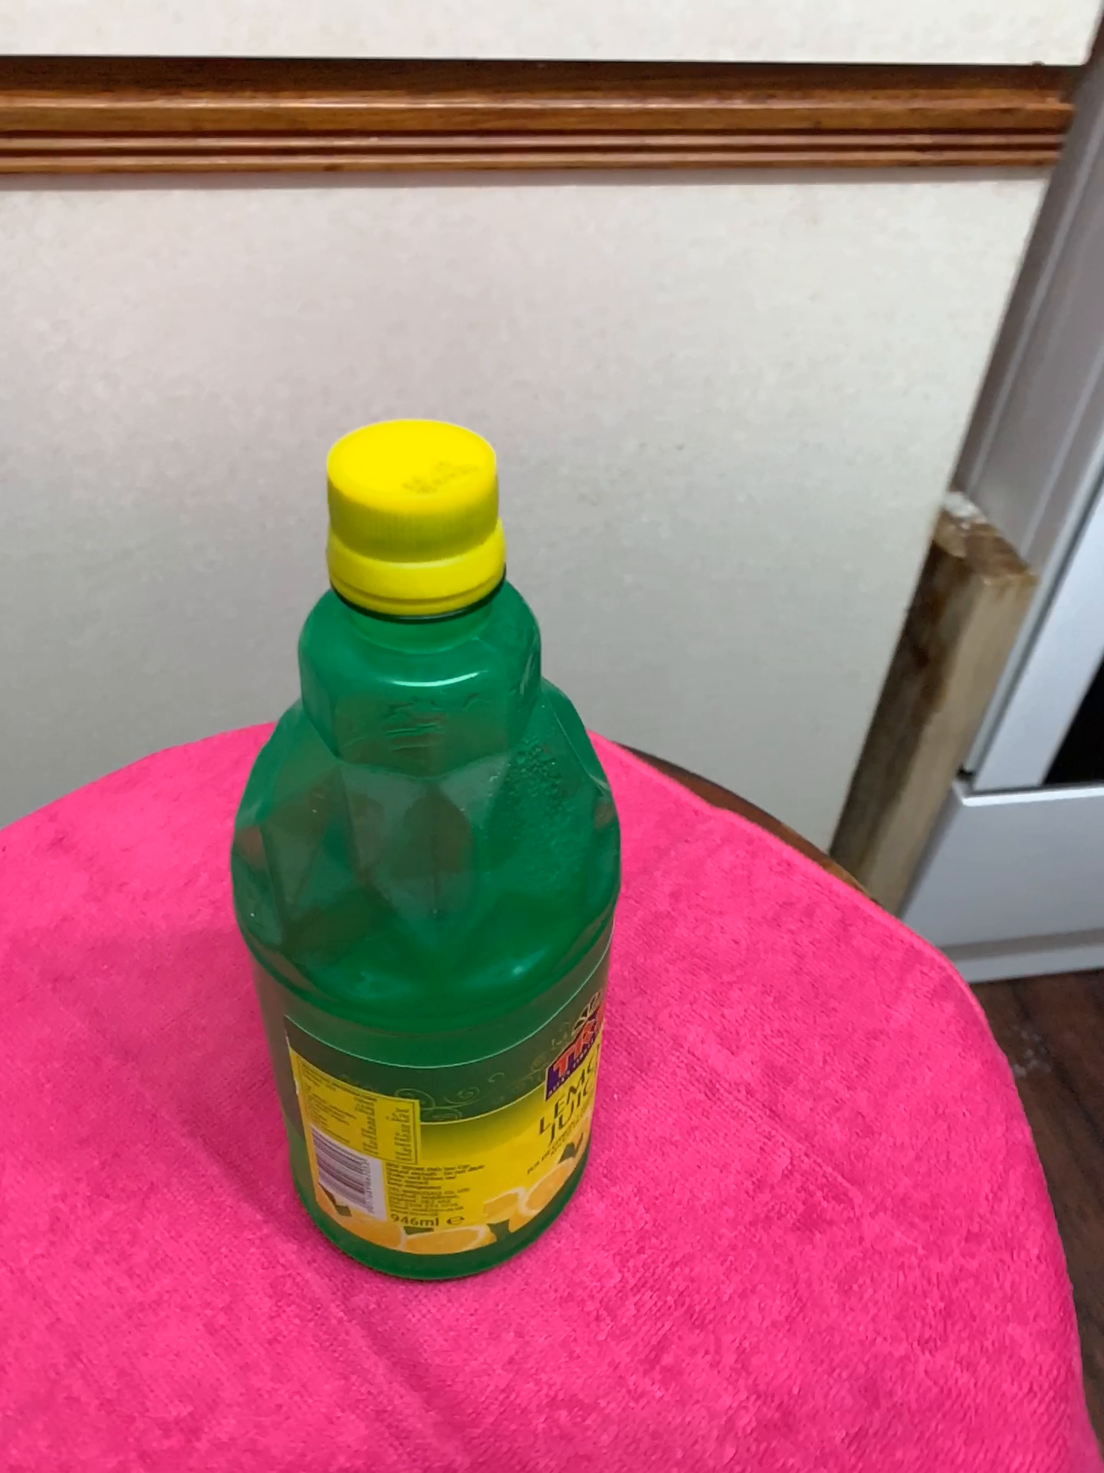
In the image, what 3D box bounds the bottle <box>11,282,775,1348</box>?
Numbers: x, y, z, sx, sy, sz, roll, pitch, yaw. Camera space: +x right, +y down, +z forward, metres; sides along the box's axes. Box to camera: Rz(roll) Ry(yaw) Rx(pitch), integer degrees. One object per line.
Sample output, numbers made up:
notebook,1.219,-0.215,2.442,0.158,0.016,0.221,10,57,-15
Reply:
bottle,-0.026,0.032,0.271,0.090,0.228,0.101,20,45,17
